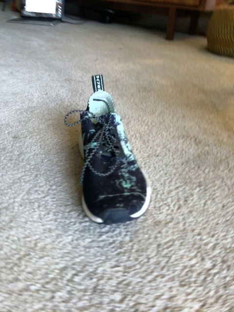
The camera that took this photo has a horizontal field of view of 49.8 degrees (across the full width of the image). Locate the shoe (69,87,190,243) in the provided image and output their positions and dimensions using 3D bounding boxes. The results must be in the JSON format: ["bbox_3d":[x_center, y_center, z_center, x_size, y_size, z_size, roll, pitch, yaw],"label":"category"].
[{"bbox_3d":[-0.009,-0.016,0.416,0.131,0.100,0.288,-3,35,-10],"label":"shoe"}]
